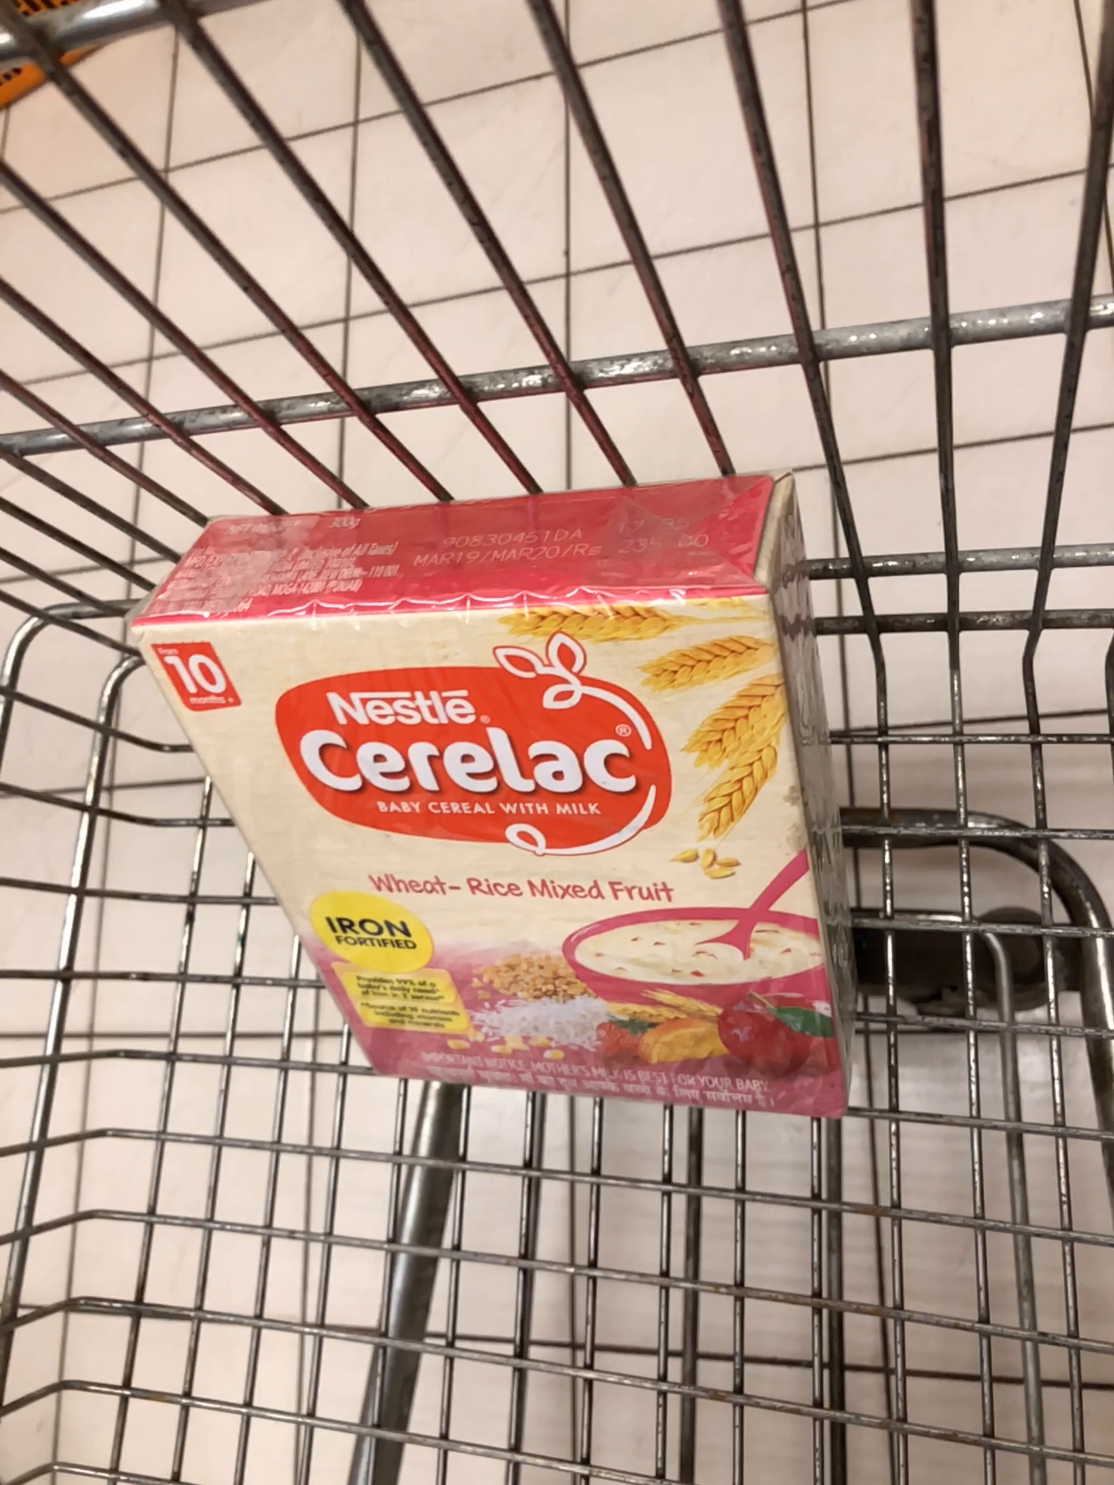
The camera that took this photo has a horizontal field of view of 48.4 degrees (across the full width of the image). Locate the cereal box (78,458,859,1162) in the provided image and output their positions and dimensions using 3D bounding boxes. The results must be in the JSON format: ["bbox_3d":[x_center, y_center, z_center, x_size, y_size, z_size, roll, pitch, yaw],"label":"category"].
[{"bbox_3d":[-0.006,0.027,0.322,0.150,0.179,0.060,-1,42,18],"label":"cereal box"}]
